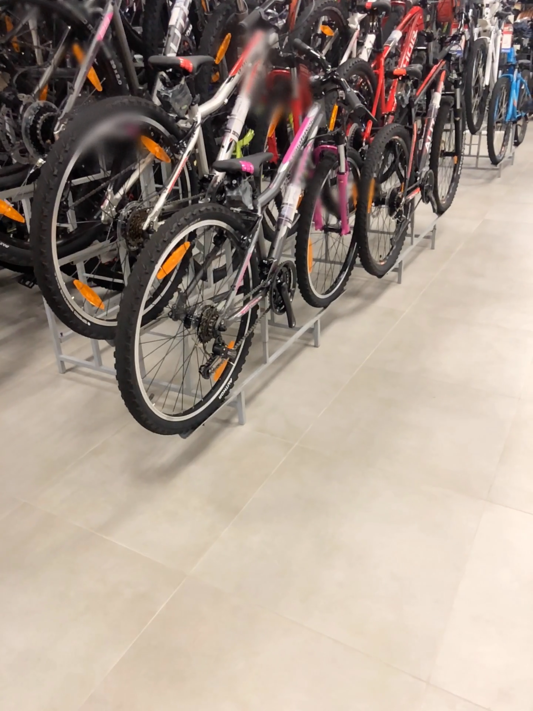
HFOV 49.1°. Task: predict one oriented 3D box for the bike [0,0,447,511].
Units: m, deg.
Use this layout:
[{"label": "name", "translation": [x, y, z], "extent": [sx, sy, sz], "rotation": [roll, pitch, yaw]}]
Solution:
[{"label": "bike", "translation": [0.037, -0.548, 1.880], "extent": [0.598, 0.990, 1.613], "rotation": [12, 34, 26]}]
